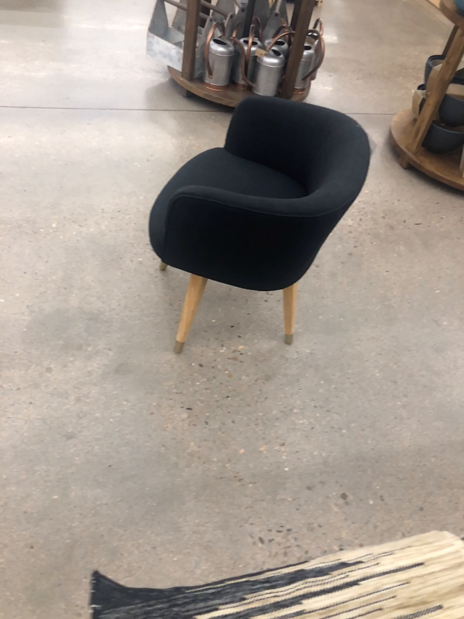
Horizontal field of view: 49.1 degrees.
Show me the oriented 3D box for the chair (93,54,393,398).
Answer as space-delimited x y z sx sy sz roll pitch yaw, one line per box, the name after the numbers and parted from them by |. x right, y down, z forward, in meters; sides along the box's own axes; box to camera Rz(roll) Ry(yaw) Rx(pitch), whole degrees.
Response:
0.021 -0.264 1.579 0.603 0.670 0.604 25 48 11 | chair
